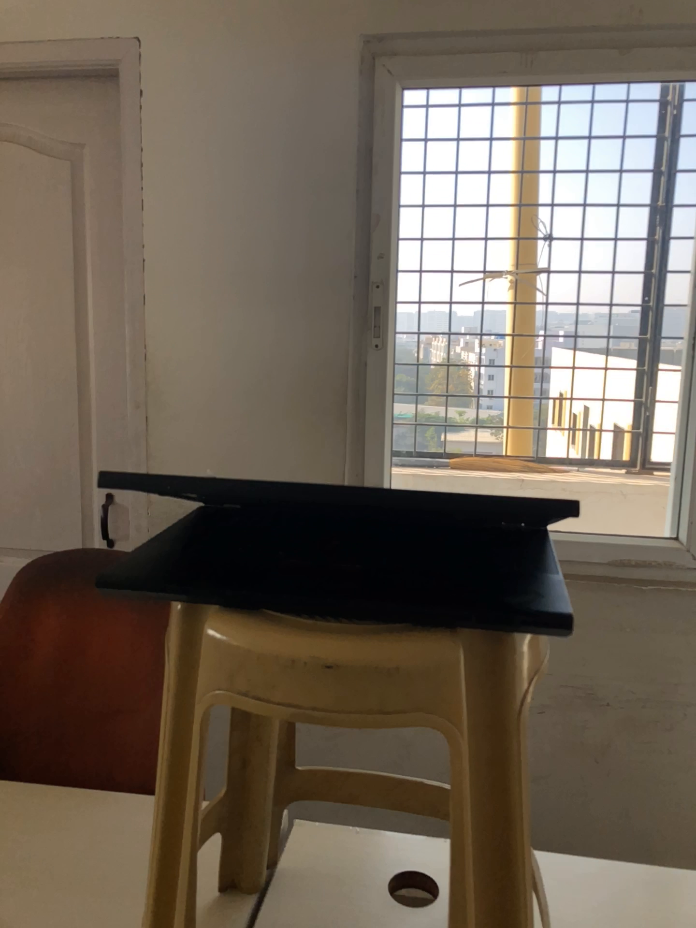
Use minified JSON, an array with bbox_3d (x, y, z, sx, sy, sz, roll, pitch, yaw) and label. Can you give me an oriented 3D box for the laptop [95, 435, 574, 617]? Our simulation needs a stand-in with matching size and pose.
[{"bbox_3d":[0.003,0.040,0.682,0.362,0.075,0.235,3,12,10],"label":"laptop"}]
